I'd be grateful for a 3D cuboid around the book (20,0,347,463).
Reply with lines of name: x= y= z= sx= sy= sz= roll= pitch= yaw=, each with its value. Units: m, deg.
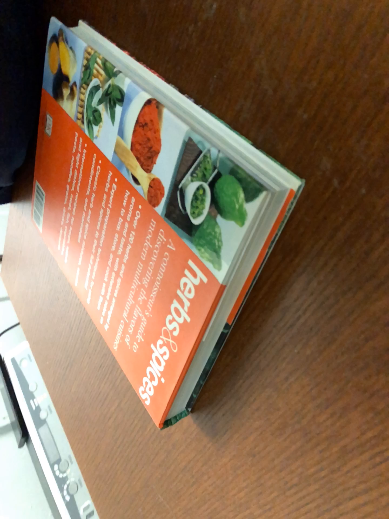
book: x=-0.055 y=-0.032 z=0.312 sx=0.271 sy=0.040 sz=0.210 roll=49 pitch=133 yaw=33
